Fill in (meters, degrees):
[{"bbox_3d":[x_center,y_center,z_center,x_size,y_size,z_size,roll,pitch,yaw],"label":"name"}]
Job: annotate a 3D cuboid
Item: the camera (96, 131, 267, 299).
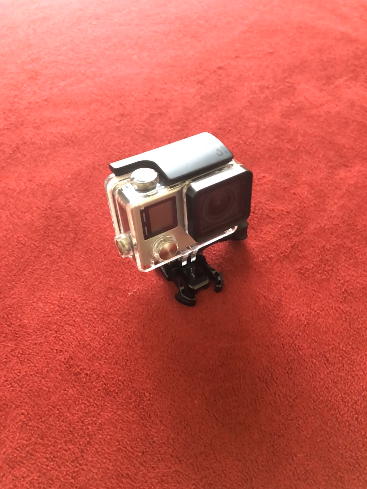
[{"bbox_3d":[0.001,-0.017,0.215,0.072,0.050,0.040,-26,48,-17],"label":"camera"}]
